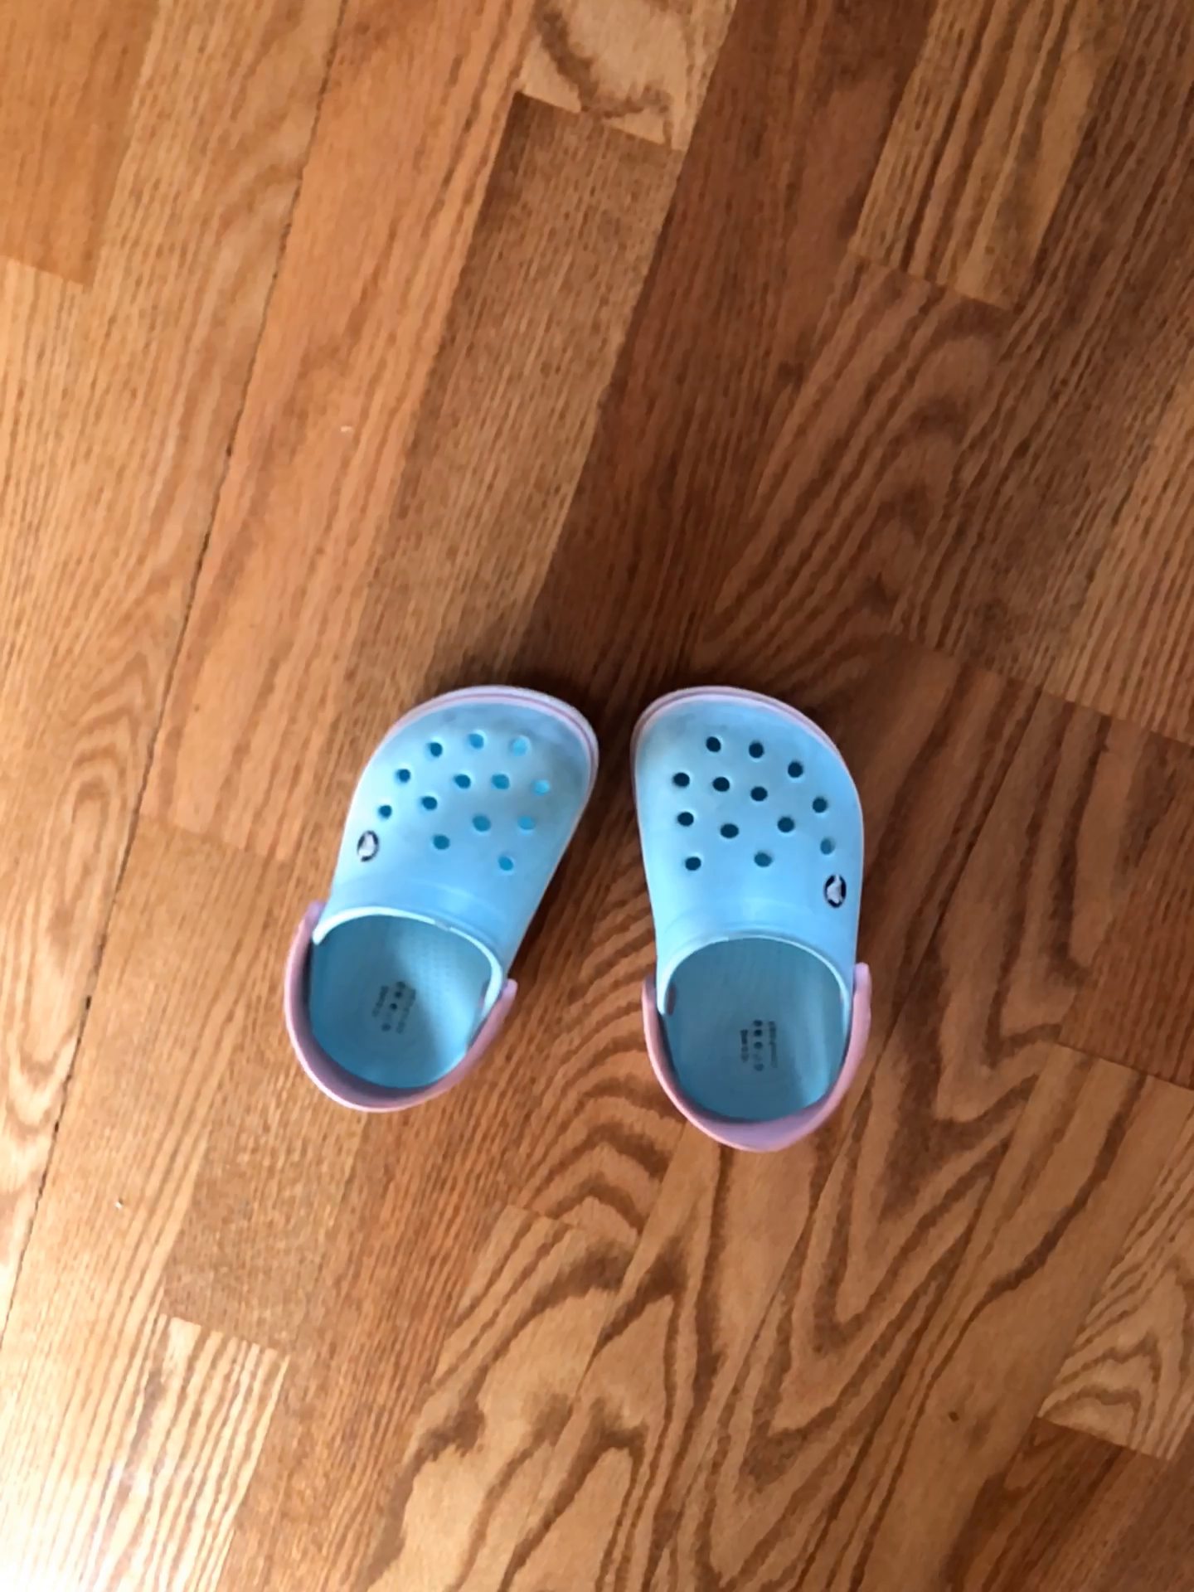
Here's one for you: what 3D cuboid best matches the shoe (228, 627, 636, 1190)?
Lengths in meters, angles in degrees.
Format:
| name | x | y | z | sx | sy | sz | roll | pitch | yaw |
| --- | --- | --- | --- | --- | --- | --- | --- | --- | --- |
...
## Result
| name | x | y | z | sx | sy | sz | roll | pitch | yaw |
| --- | --- | --- | --- | --- | --- | --- | --- | --- | --- |
| shoe | -0.055 | 0.037 | 0.454 | 0.083 | 0.057 | 0.165 | 20 | 104 | -2 |

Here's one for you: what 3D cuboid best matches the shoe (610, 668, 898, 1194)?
| name | x | y | z | sx | sy | sz | roll | pitch | yaw |
| --- | --- | --- | --- | --- | --- | --- | --- | --- | --- |
| shoe | 0.053 | 0.045 | 0.446 | 0.083 | 0.048 | 0.165 | -4 | 104 | 4 |
